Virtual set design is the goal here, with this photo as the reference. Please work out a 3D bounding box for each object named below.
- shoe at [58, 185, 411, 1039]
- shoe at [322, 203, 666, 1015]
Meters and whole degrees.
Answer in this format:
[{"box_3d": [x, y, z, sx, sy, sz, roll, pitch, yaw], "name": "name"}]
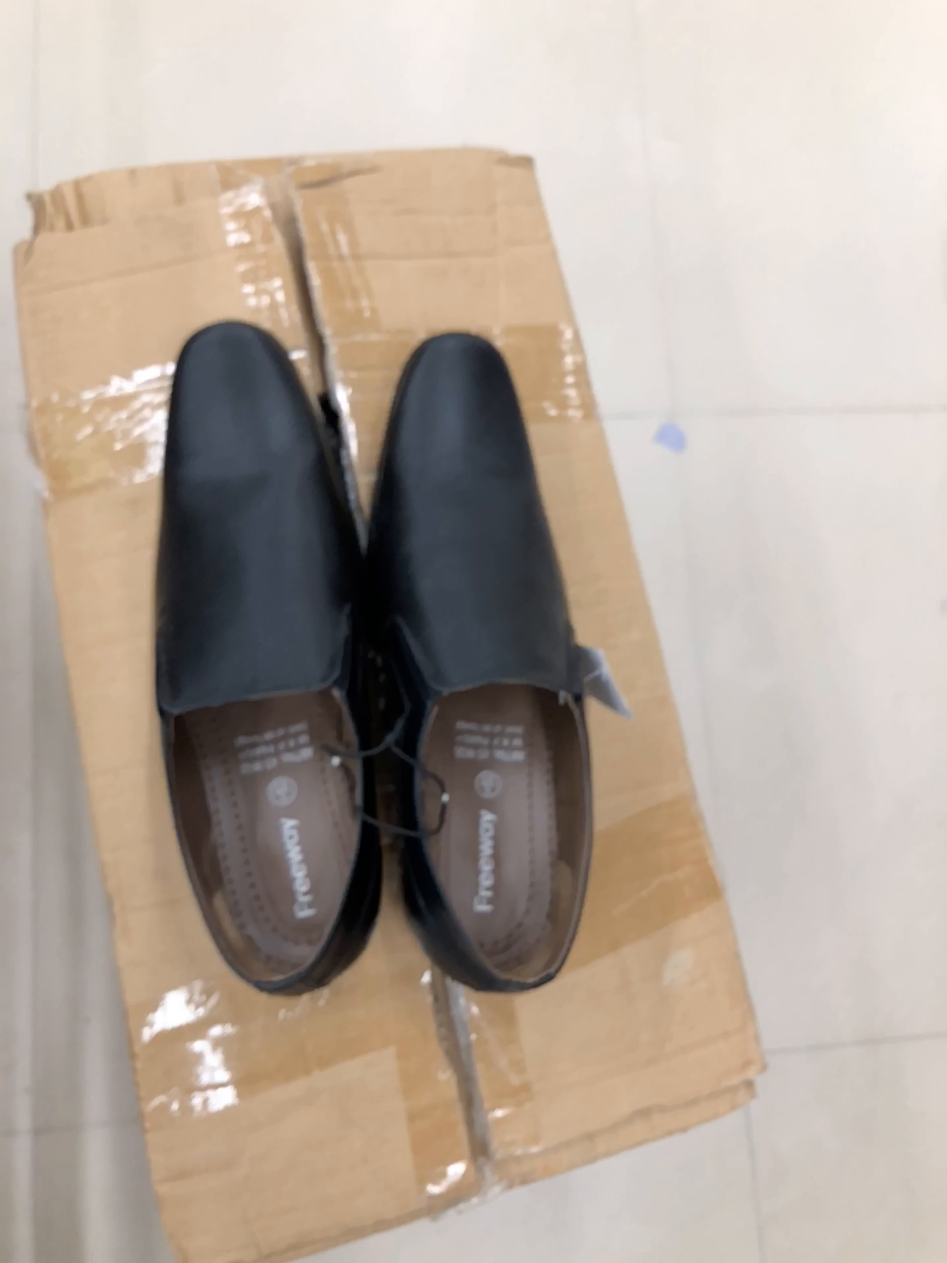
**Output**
[{"box_3d": [-0.098, -0.011, 0.452, 0.100, 0.100, 0.320, -7, 81, -2], "name": "shoe"}, {"box_3d": [-0.001, -0.013, 0.468, 0.100, 0.100, 0.320, -4, 80, -12], "name": "shoe"}]
